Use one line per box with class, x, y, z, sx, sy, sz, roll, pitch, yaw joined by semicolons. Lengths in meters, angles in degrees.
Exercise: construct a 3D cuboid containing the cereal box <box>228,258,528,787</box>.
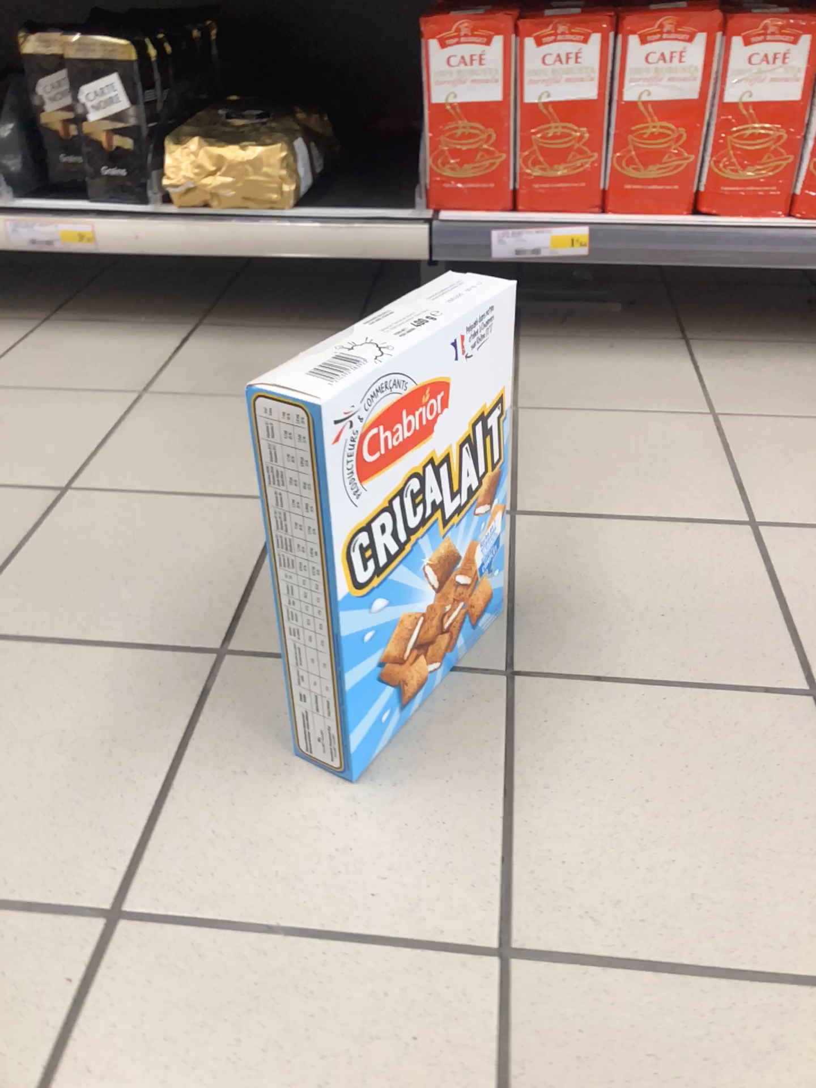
cereal box;-0.004;-0.016;0.536;0.050;0.248;0.201;20;39;28
